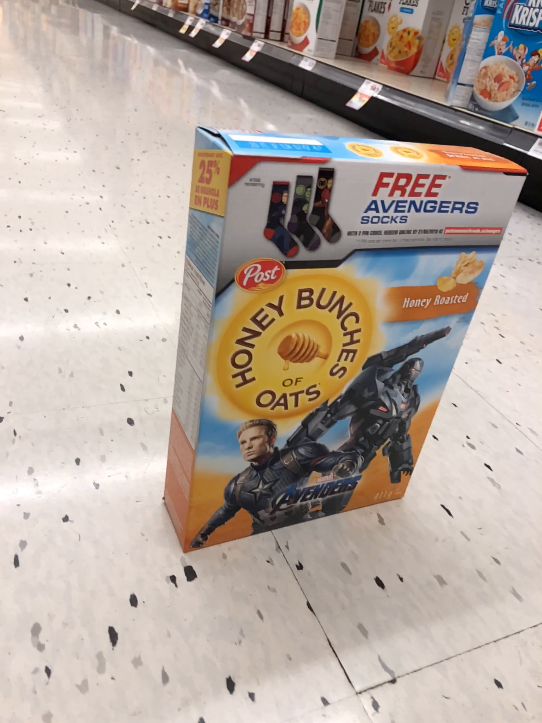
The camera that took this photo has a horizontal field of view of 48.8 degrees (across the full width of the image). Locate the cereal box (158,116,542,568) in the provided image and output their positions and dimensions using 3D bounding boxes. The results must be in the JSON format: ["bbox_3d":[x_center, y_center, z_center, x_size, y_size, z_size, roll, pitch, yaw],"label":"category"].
[{"bbox_3d":[0.047,-0.005,0.383,0.210,0.258,0.060,-7,35,-27],"label":"cereal box"}]
